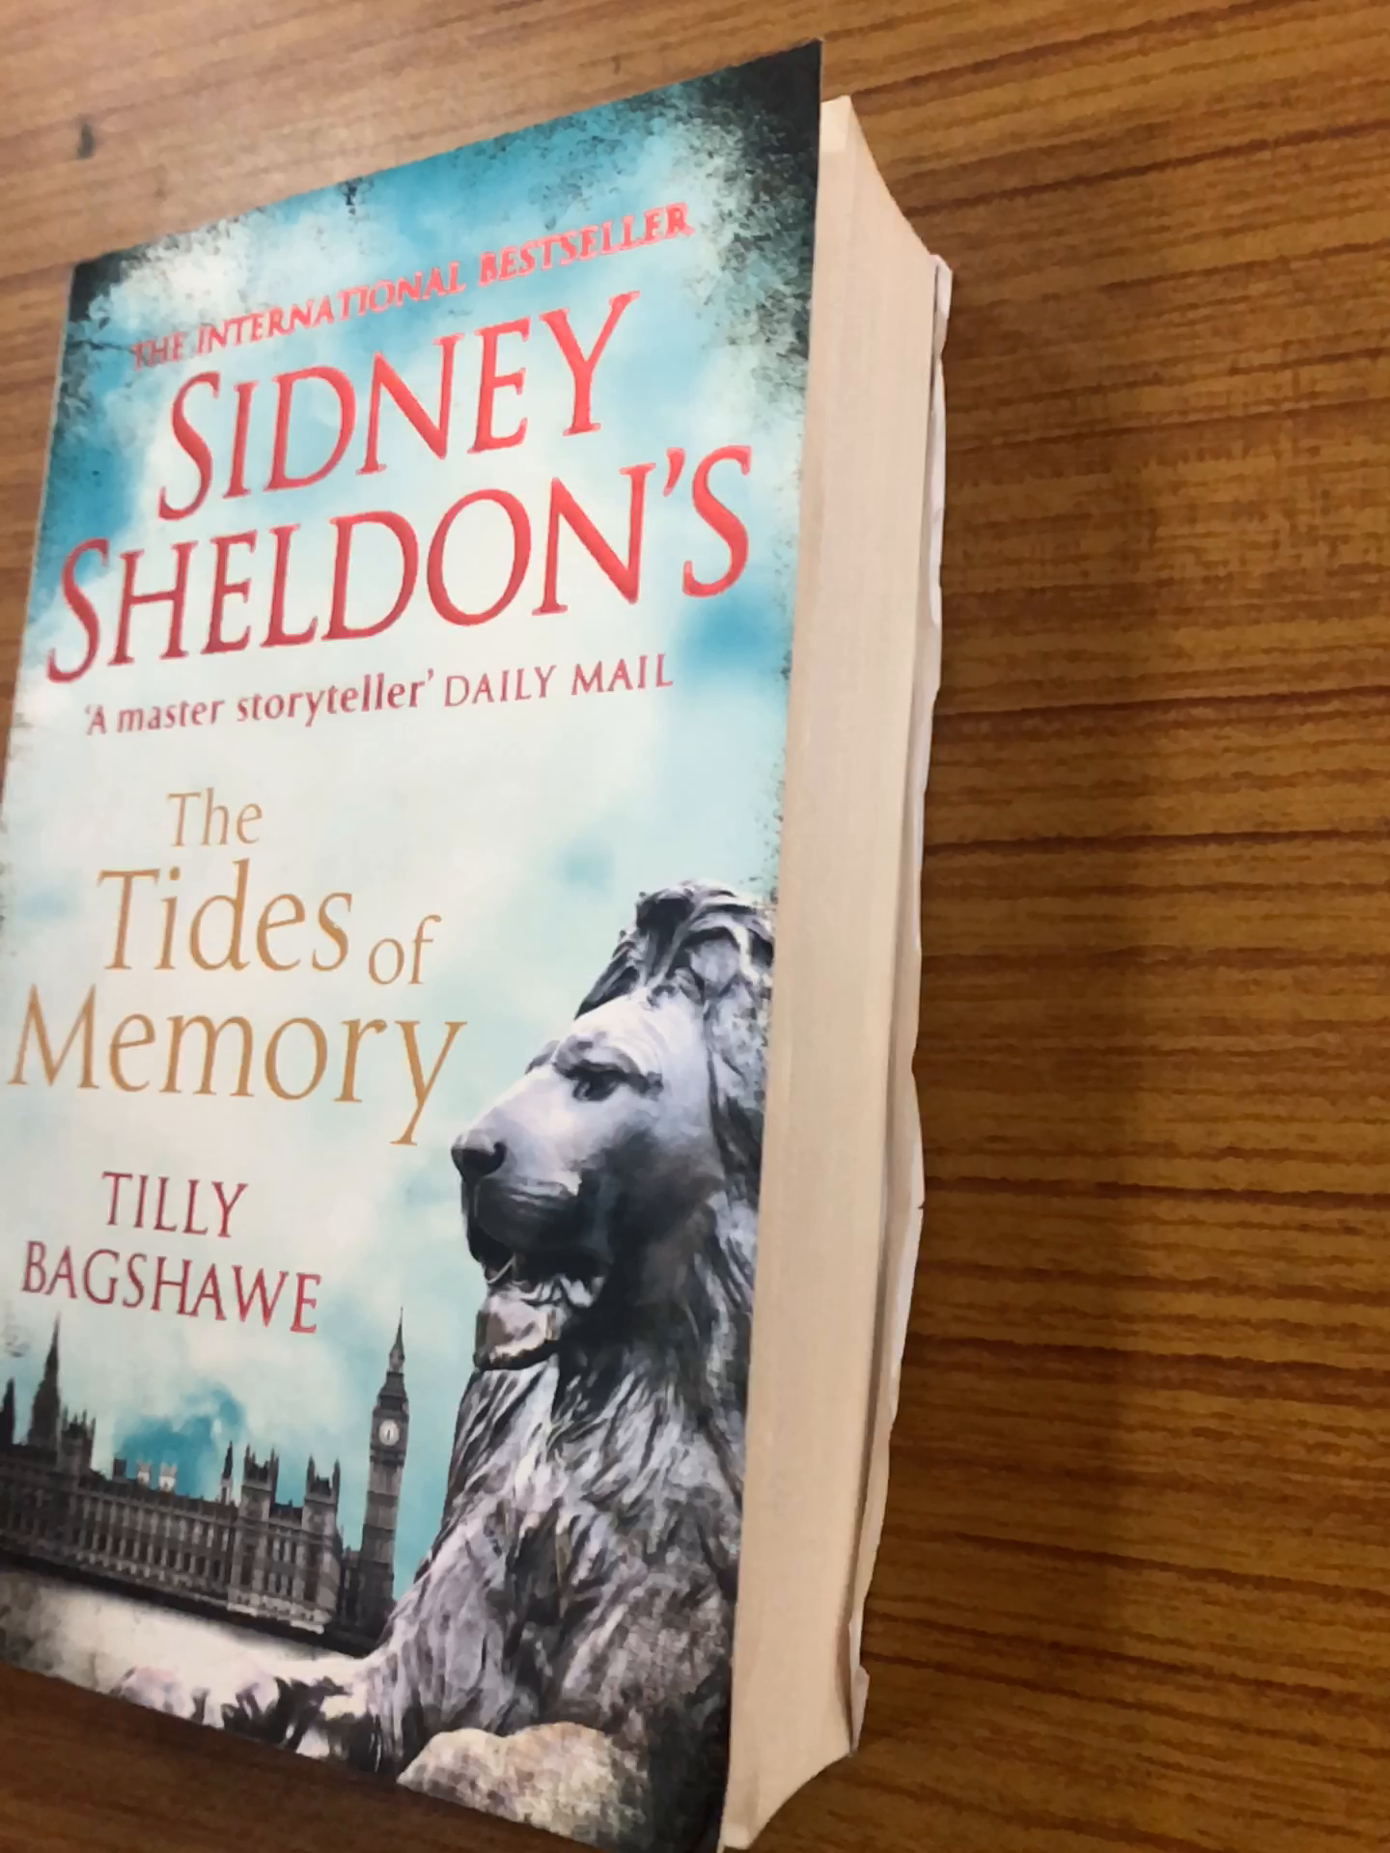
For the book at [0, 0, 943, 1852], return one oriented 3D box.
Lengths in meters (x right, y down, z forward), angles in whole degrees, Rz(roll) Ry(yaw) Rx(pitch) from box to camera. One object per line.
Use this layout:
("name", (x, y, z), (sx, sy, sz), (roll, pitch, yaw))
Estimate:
("book", (-0.039, 0.000, 0.179), (0.122, 0.037, 0.168), (-1, 81, 27))
